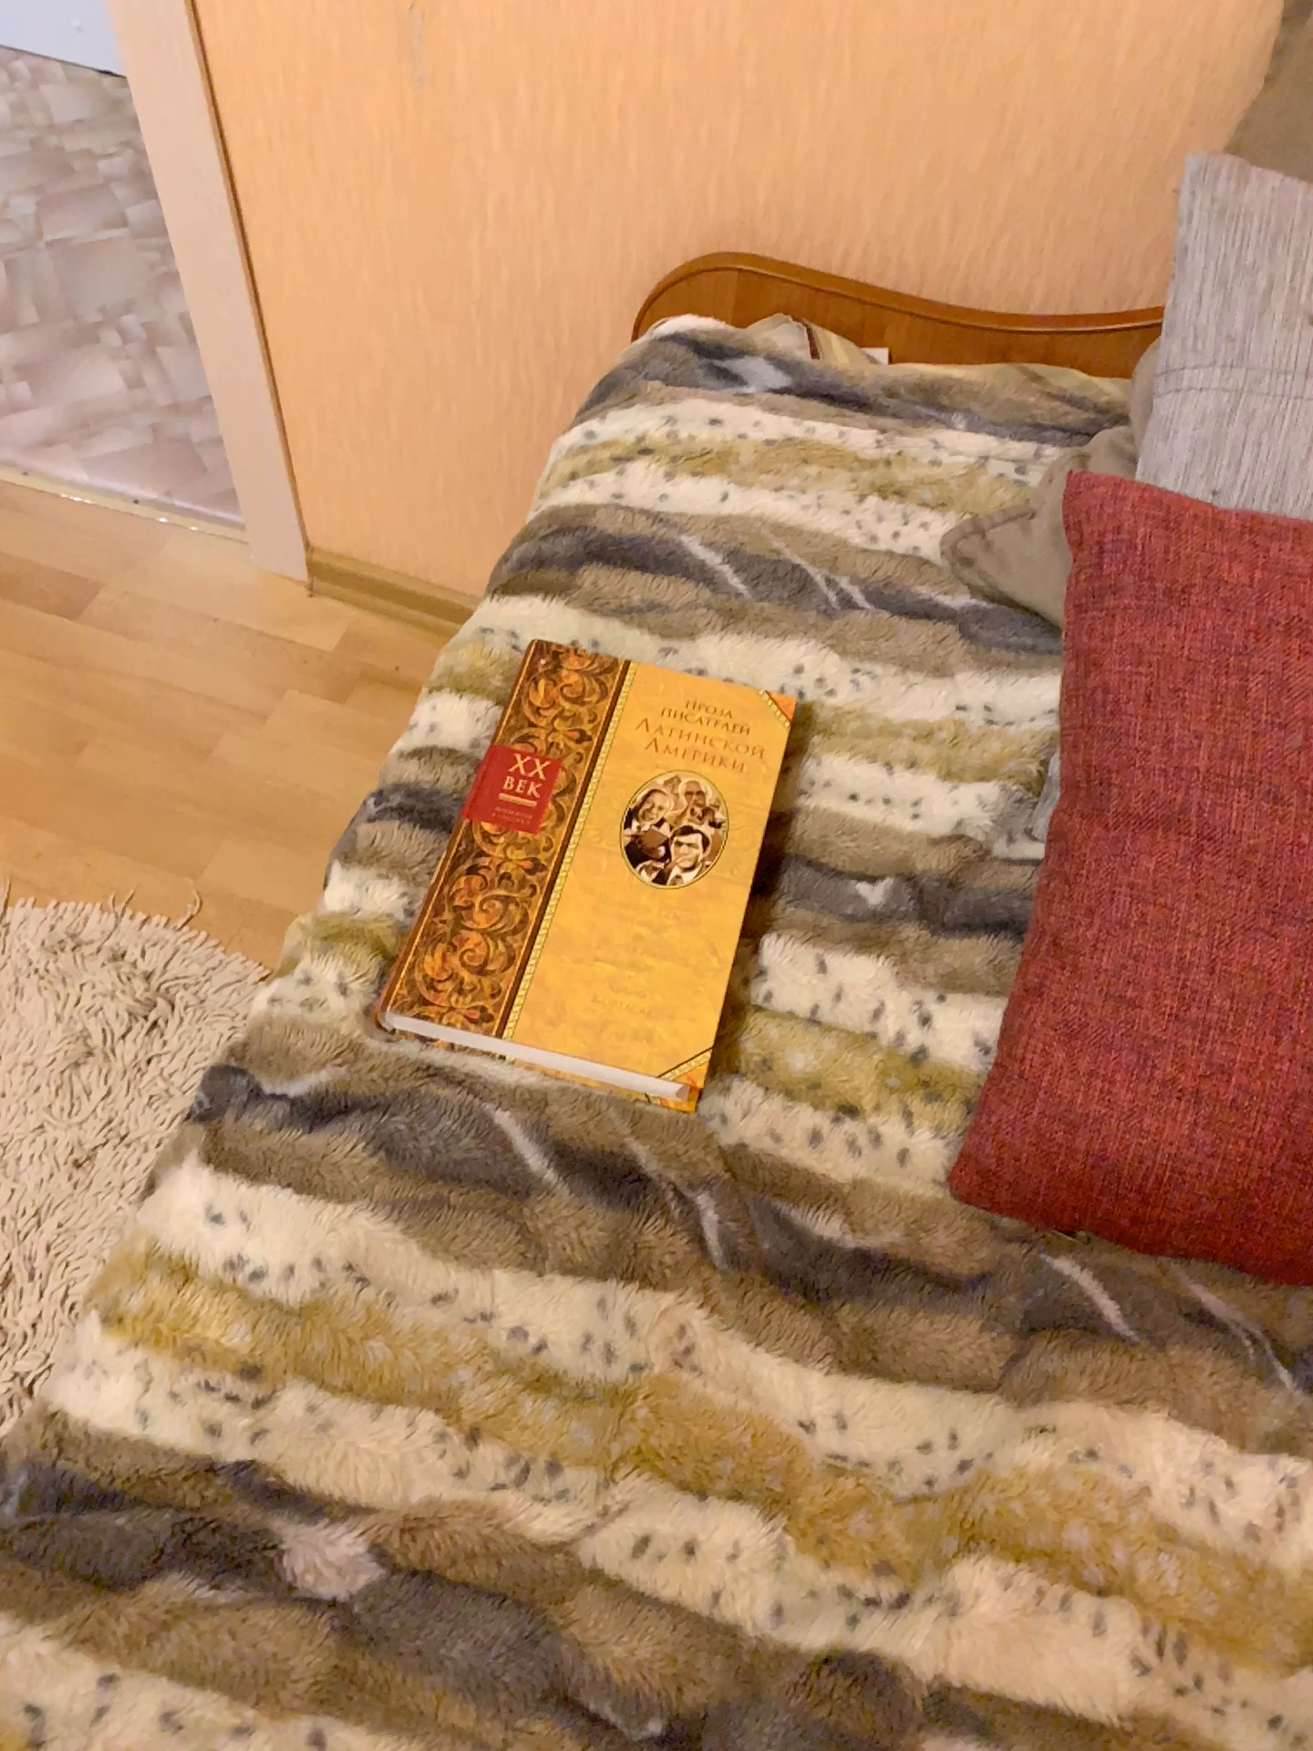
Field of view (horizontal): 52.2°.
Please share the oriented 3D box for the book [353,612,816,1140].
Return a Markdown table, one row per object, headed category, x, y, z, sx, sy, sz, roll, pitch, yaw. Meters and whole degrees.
| category | x | y | z | sx | sy | sz | roll | pitch | yaw |
| --- | --- | --- | --- | --- | --- | --- | --- | --- | --- |
| book | -0.029 | -0.011 | 0.745 | 0.180 | 0.060 | 0.272 | 14 | 57 | 5 |
